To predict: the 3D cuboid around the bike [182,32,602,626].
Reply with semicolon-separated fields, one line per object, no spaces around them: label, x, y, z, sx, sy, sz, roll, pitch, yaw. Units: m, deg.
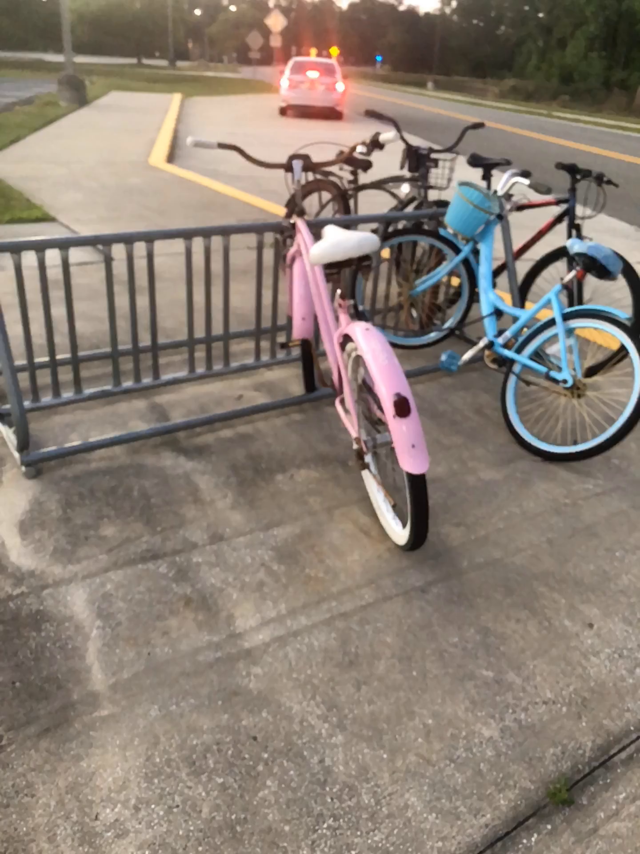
bike;0.021;-0.507;2.340;0.838;1.116;1.662;-3;34;-12
